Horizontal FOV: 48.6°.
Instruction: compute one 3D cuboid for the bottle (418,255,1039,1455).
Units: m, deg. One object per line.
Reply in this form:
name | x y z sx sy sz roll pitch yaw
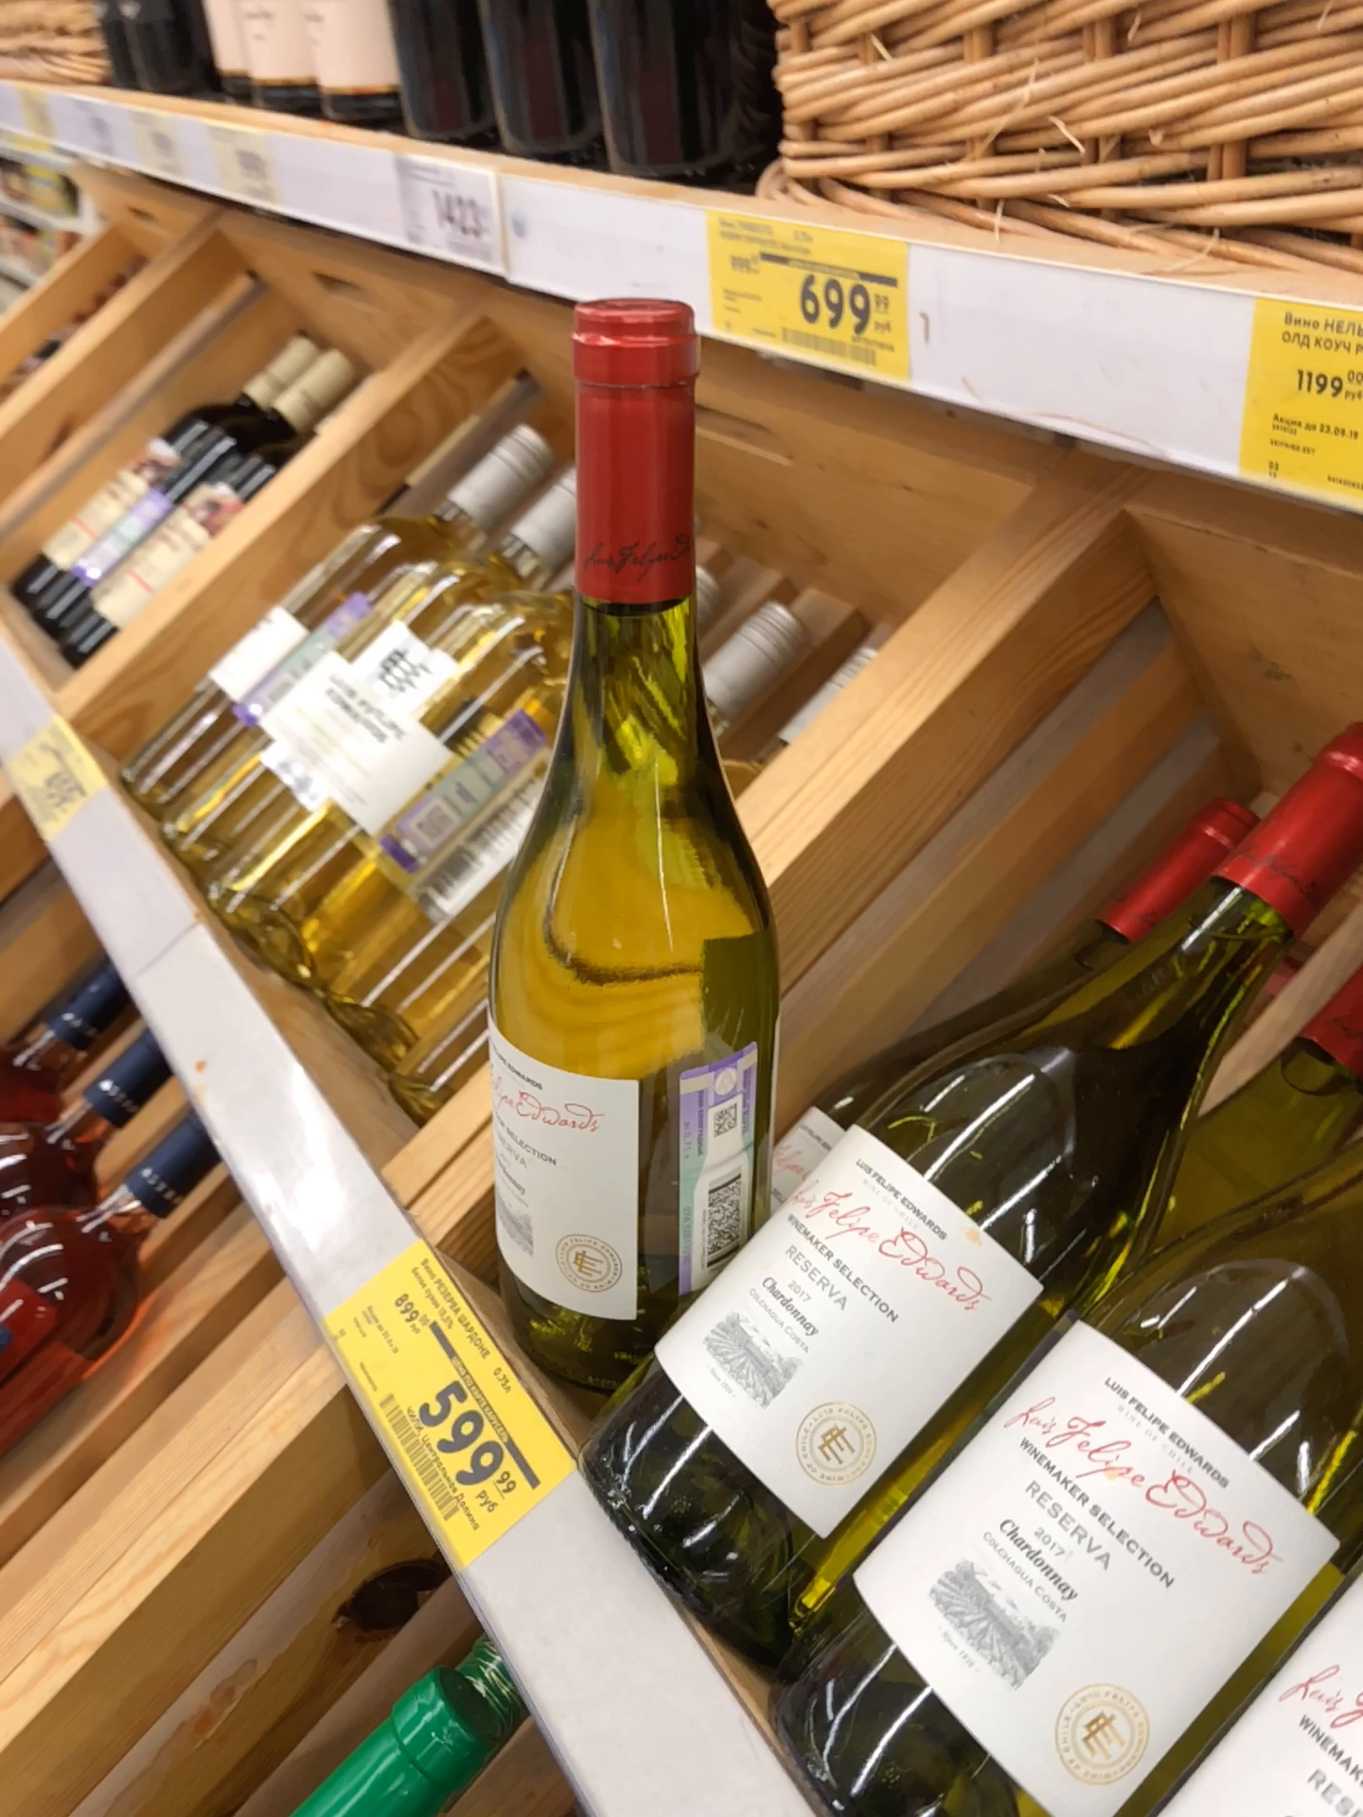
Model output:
bottle | -0.004 -0.011 0.403 0.100 0.289 0.100 4 27 -2
